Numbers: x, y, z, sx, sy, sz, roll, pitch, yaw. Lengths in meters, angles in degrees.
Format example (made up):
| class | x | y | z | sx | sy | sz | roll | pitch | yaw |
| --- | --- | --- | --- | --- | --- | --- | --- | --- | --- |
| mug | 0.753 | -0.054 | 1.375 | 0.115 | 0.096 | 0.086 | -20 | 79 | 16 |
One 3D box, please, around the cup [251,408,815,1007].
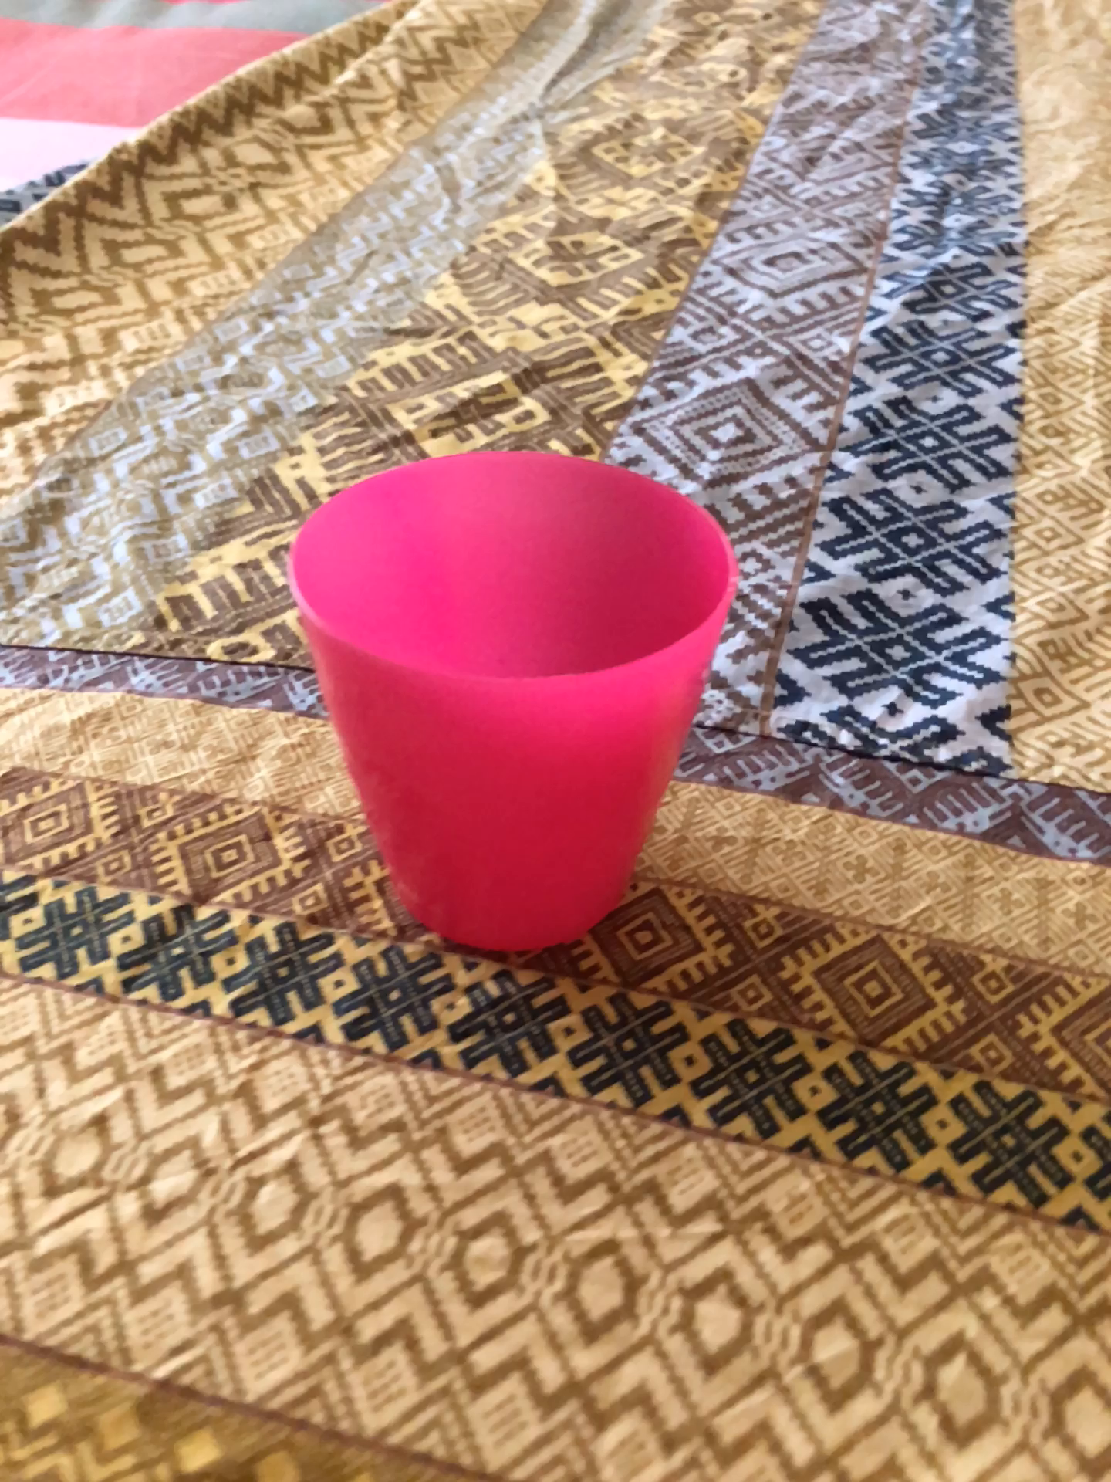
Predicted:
| class | x | y | z | sx | sy | sz | roll | pitch | yaw |
| --- | --- | --- | --- | --- | --- | --- | --- | --- | --- |
| cup | -0.008 | -0.010 | 0.239 | 0.078 | 0.067 | 0.078 | 0 | 43 | 0 |
